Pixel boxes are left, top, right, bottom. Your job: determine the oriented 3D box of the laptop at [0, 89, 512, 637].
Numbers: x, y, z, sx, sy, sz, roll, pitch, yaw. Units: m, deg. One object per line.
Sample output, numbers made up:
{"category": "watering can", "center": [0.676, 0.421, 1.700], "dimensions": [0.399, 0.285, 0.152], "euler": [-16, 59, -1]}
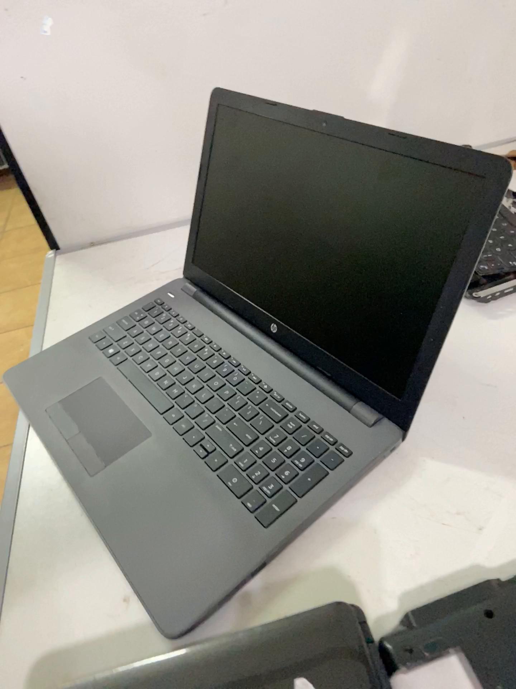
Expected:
{"category": "laptop", "center": [-0.057, -0.048, 0.503], "dimensions": [0.365, 0.206, 0.381], "euler": [-34, 46, -23]}
